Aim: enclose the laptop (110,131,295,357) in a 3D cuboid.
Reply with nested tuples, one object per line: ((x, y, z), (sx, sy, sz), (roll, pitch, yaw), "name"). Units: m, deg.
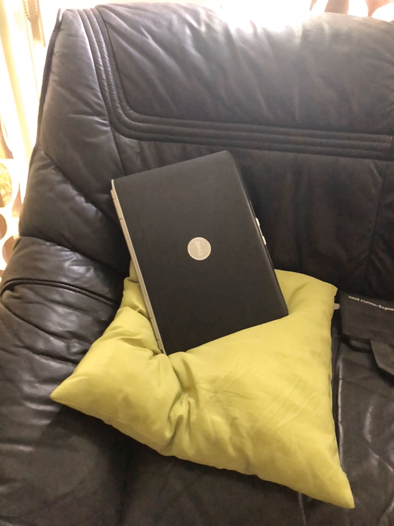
((0.007, -0.044, 0.811), (0.247, 0.033, 0.345), (-17, 81, -10), "laptop")
